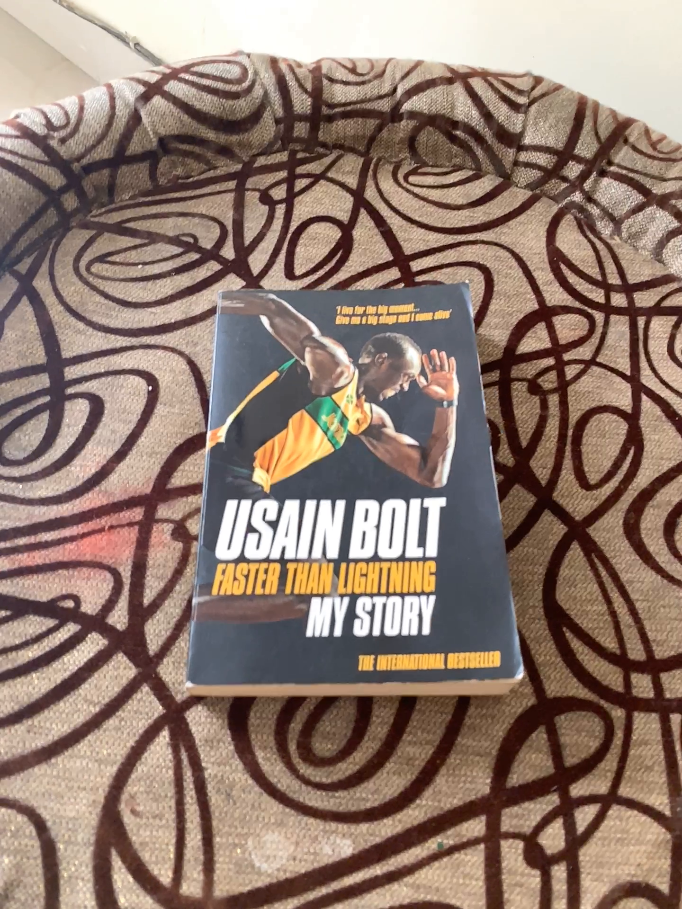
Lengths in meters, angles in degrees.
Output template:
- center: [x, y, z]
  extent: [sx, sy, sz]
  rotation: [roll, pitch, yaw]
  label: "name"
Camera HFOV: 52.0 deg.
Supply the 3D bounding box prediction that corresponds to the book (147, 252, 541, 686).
- center: [0.000, -0.005, 0.310]
  extent: [0.140, 0.030, 0.201]
  rotation: [0, 61, -1]
  label: "book"
